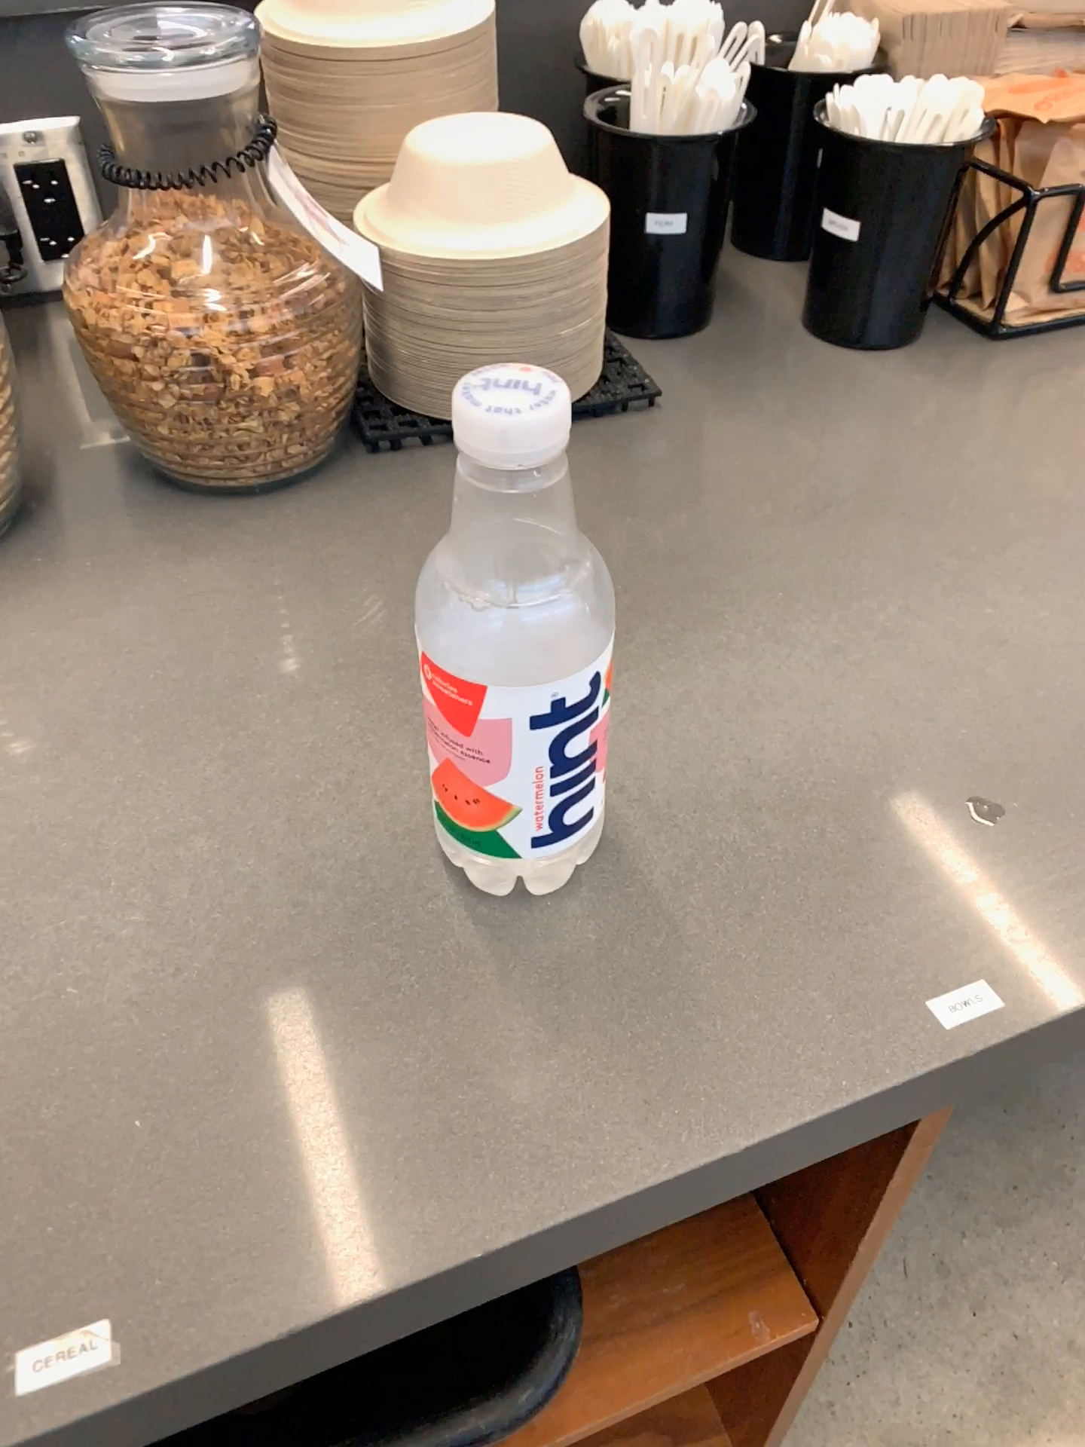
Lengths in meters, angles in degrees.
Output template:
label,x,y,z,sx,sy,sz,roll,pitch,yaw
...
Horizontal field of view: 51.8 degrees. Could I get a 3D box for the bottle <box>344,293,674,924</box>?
label,x,y,z,sx,sy,sz,roll,pitch,yaw
bottle,-0.012,-0.029,0.381,0.070,0.199,0.070,0,44,0
